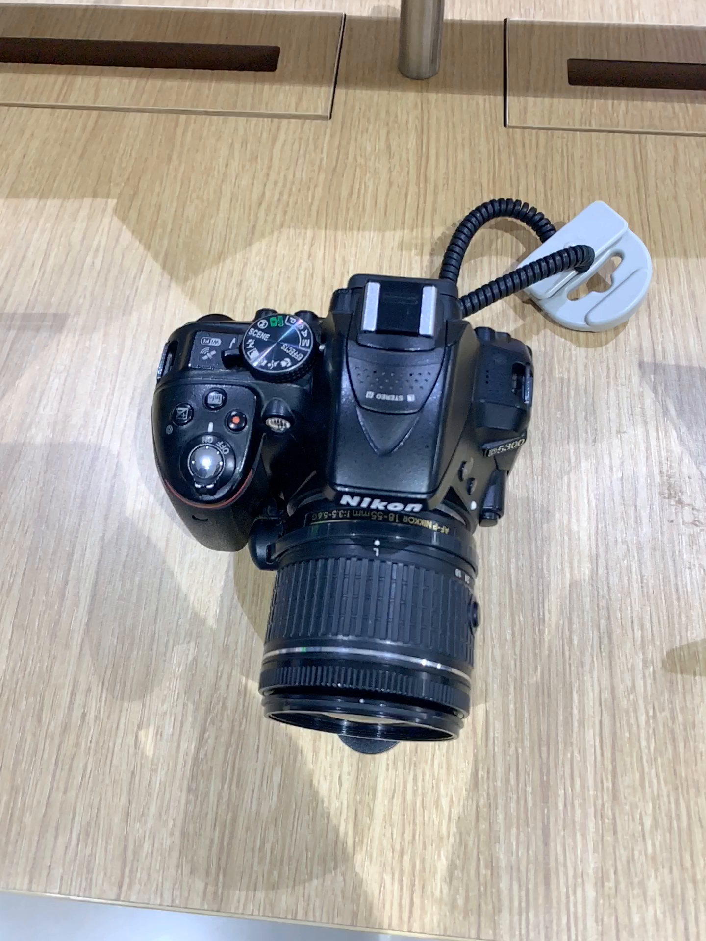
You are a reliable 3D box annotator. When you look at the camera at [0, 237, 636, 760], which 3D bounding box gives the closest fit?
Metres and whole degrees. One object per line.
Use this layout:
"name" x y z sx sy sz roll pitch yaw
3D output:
"camera" -0.006 0.011 0.205 0.130 0.080 0.120 3 65 3
